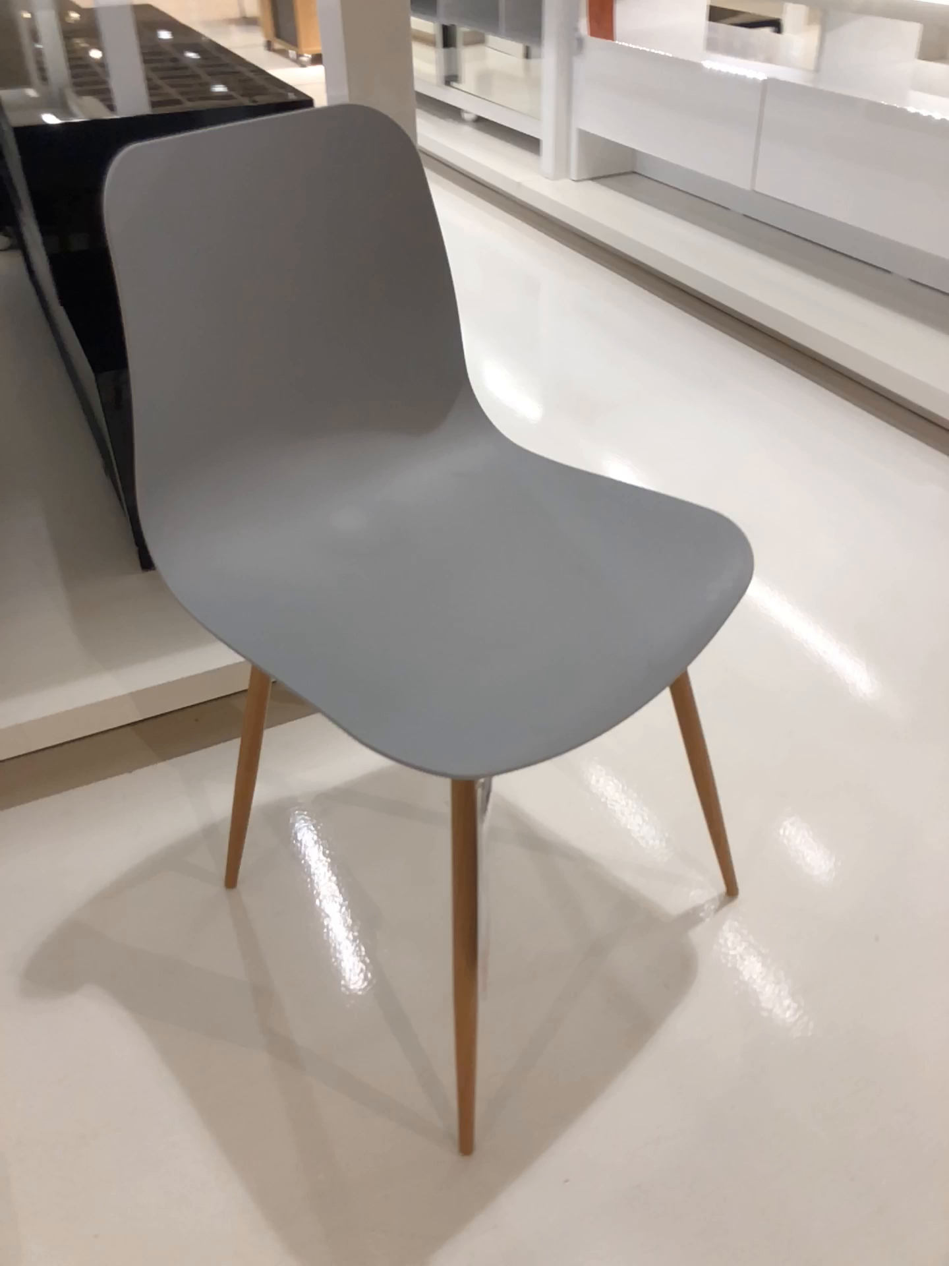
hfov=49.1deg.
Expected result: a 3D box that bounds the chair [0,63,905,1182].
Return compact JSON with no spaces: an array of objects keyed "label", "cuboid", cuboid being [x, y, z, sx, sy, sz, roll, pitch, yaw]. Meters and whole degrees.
[{"label":"chair","cuboid":[-0.020,-0.025,0.979,0.472,0.813,0.472,-30,45,-33]}]
